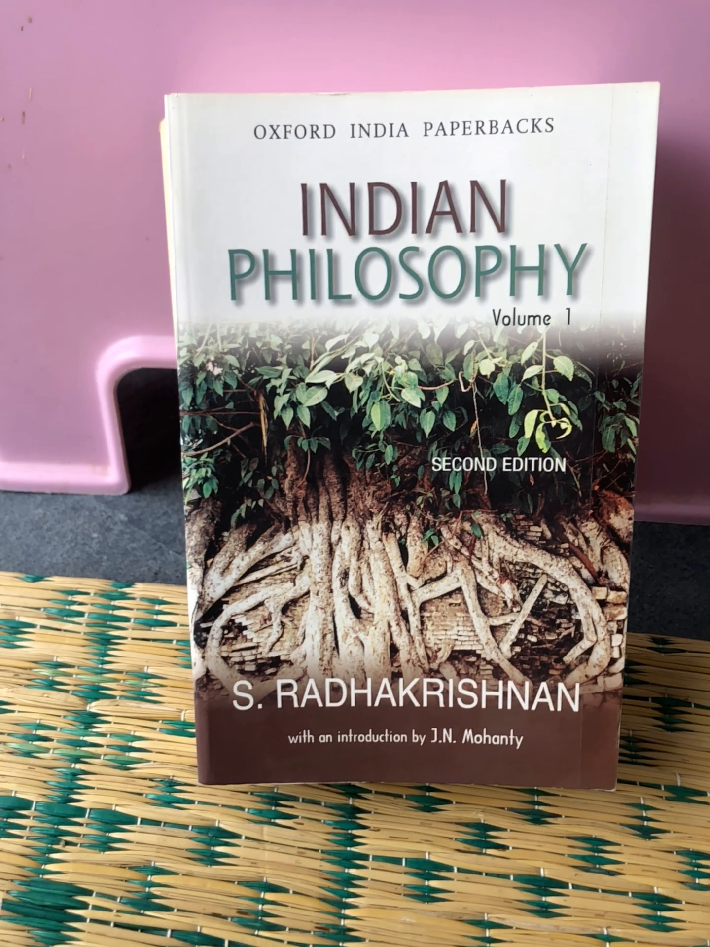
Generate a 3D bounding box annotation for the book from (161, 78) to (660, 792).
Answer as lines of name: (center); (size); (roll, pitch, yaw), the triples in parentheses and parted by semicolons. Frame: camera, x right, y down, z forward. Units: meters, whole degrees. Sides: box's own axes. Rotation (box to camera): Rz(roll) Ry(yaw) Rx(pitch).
book: (0.015, -0.010, 0.269); (0.140, 0.210, 0.070); (0, 6, 0)
